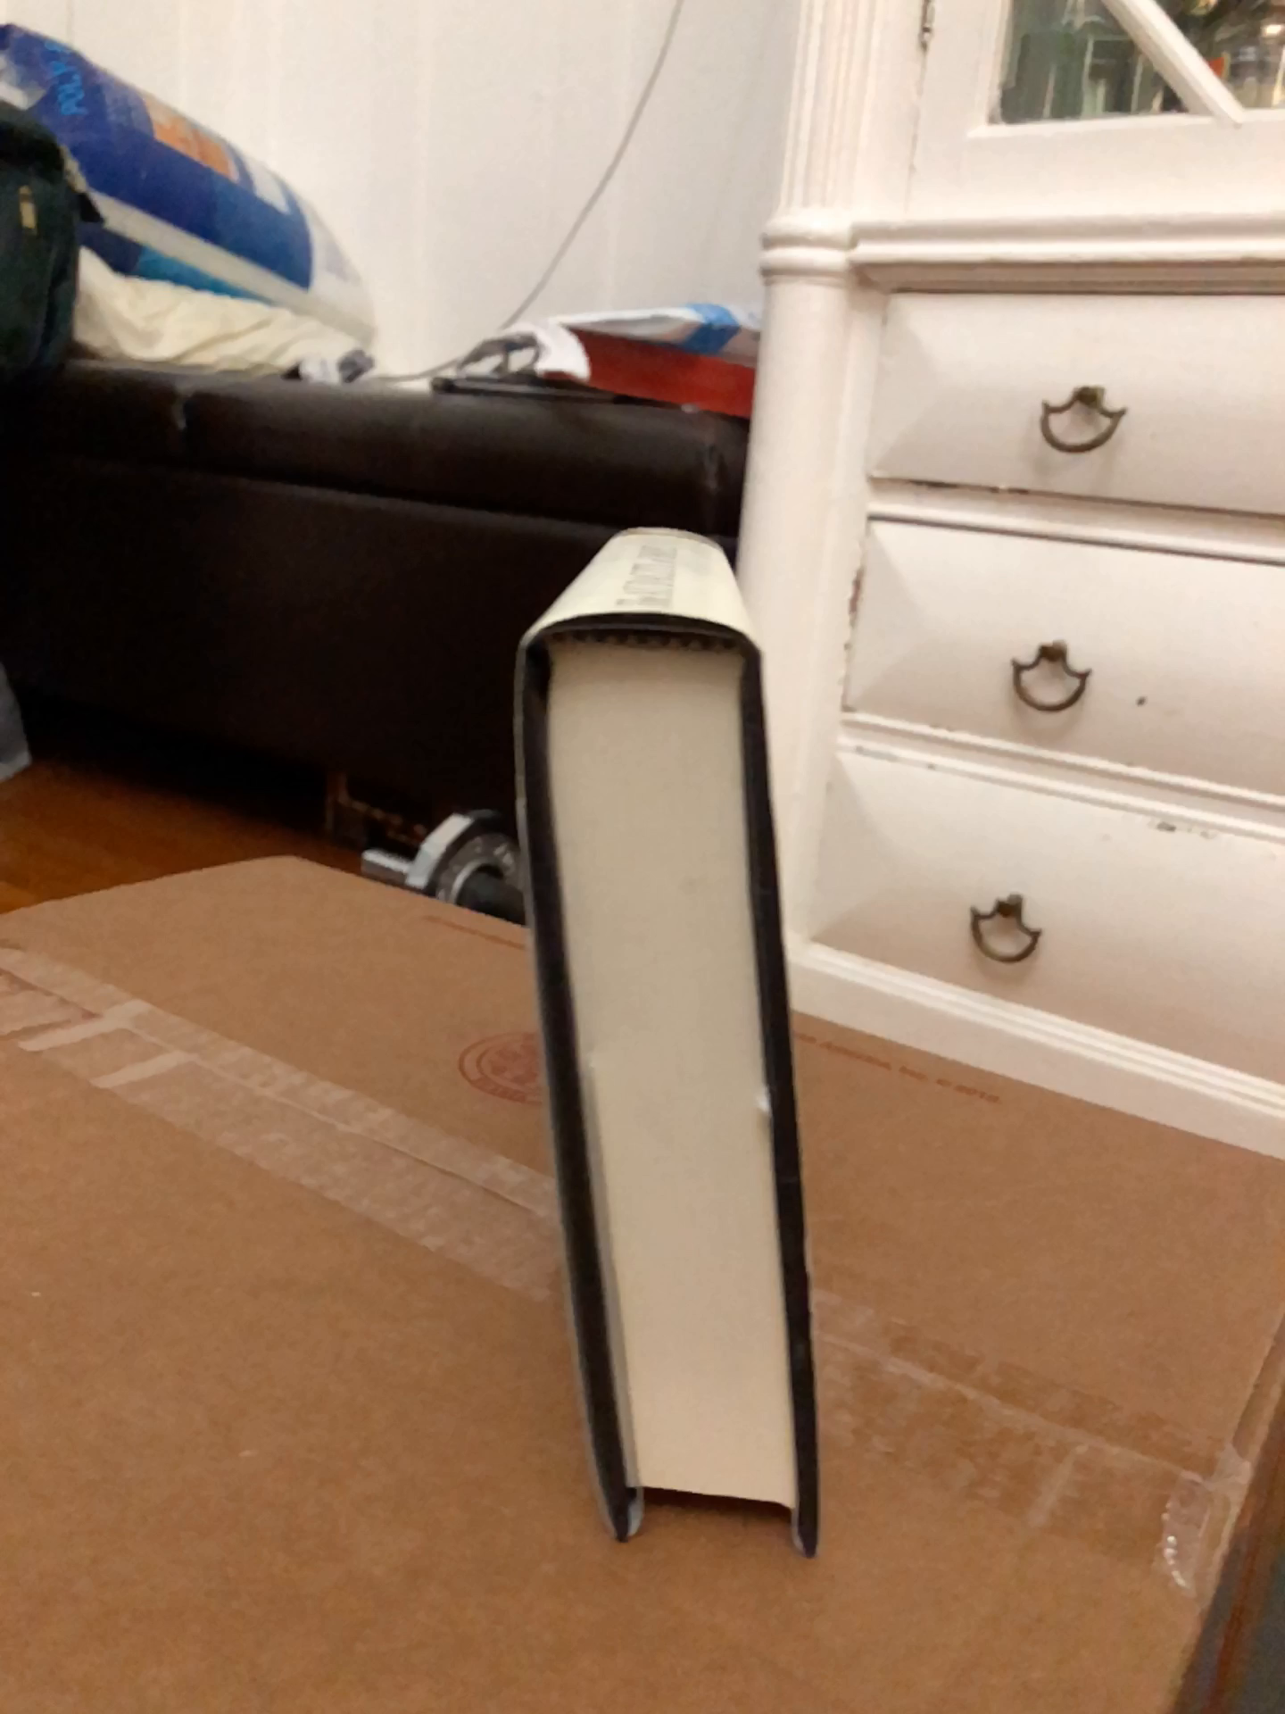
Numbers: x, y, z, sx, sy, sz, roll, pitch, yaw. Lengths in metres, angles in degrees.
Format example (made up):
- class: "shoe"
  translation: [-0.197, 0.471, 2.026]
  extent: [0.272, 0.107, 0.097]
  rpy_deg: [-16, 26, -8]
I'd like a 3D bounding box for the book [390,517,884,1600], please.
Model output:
- class: "book"
  translation: [0.004, 0.010, 0.342]
  extent: [0.060, 0.169, 0.251]
  rpy_deg: [-5, 14, 2]
